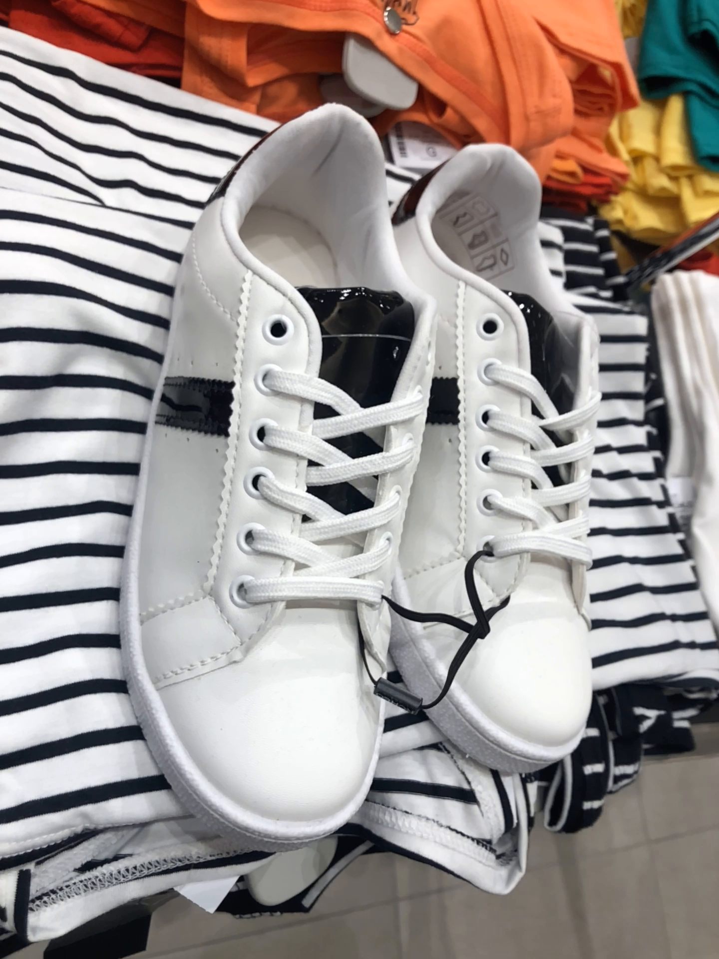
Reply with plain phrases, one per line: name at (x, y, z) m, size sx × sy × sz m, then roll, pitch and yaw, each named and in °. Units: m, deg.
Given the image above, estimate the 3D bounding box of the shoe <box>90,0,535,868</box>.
shoe at (-0.021, -0.012, 0.232) m, size 0.080 × 0.080 × 0.210 m, roll 8°, pitch 68°, yaw -33°

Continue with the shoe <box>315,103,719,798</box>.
shoe at (0.052, -0.006, 0.284) m, size 0.090 × 0.080 × 0.210 m, roll 6°, pitch 69°, yaw -34°
